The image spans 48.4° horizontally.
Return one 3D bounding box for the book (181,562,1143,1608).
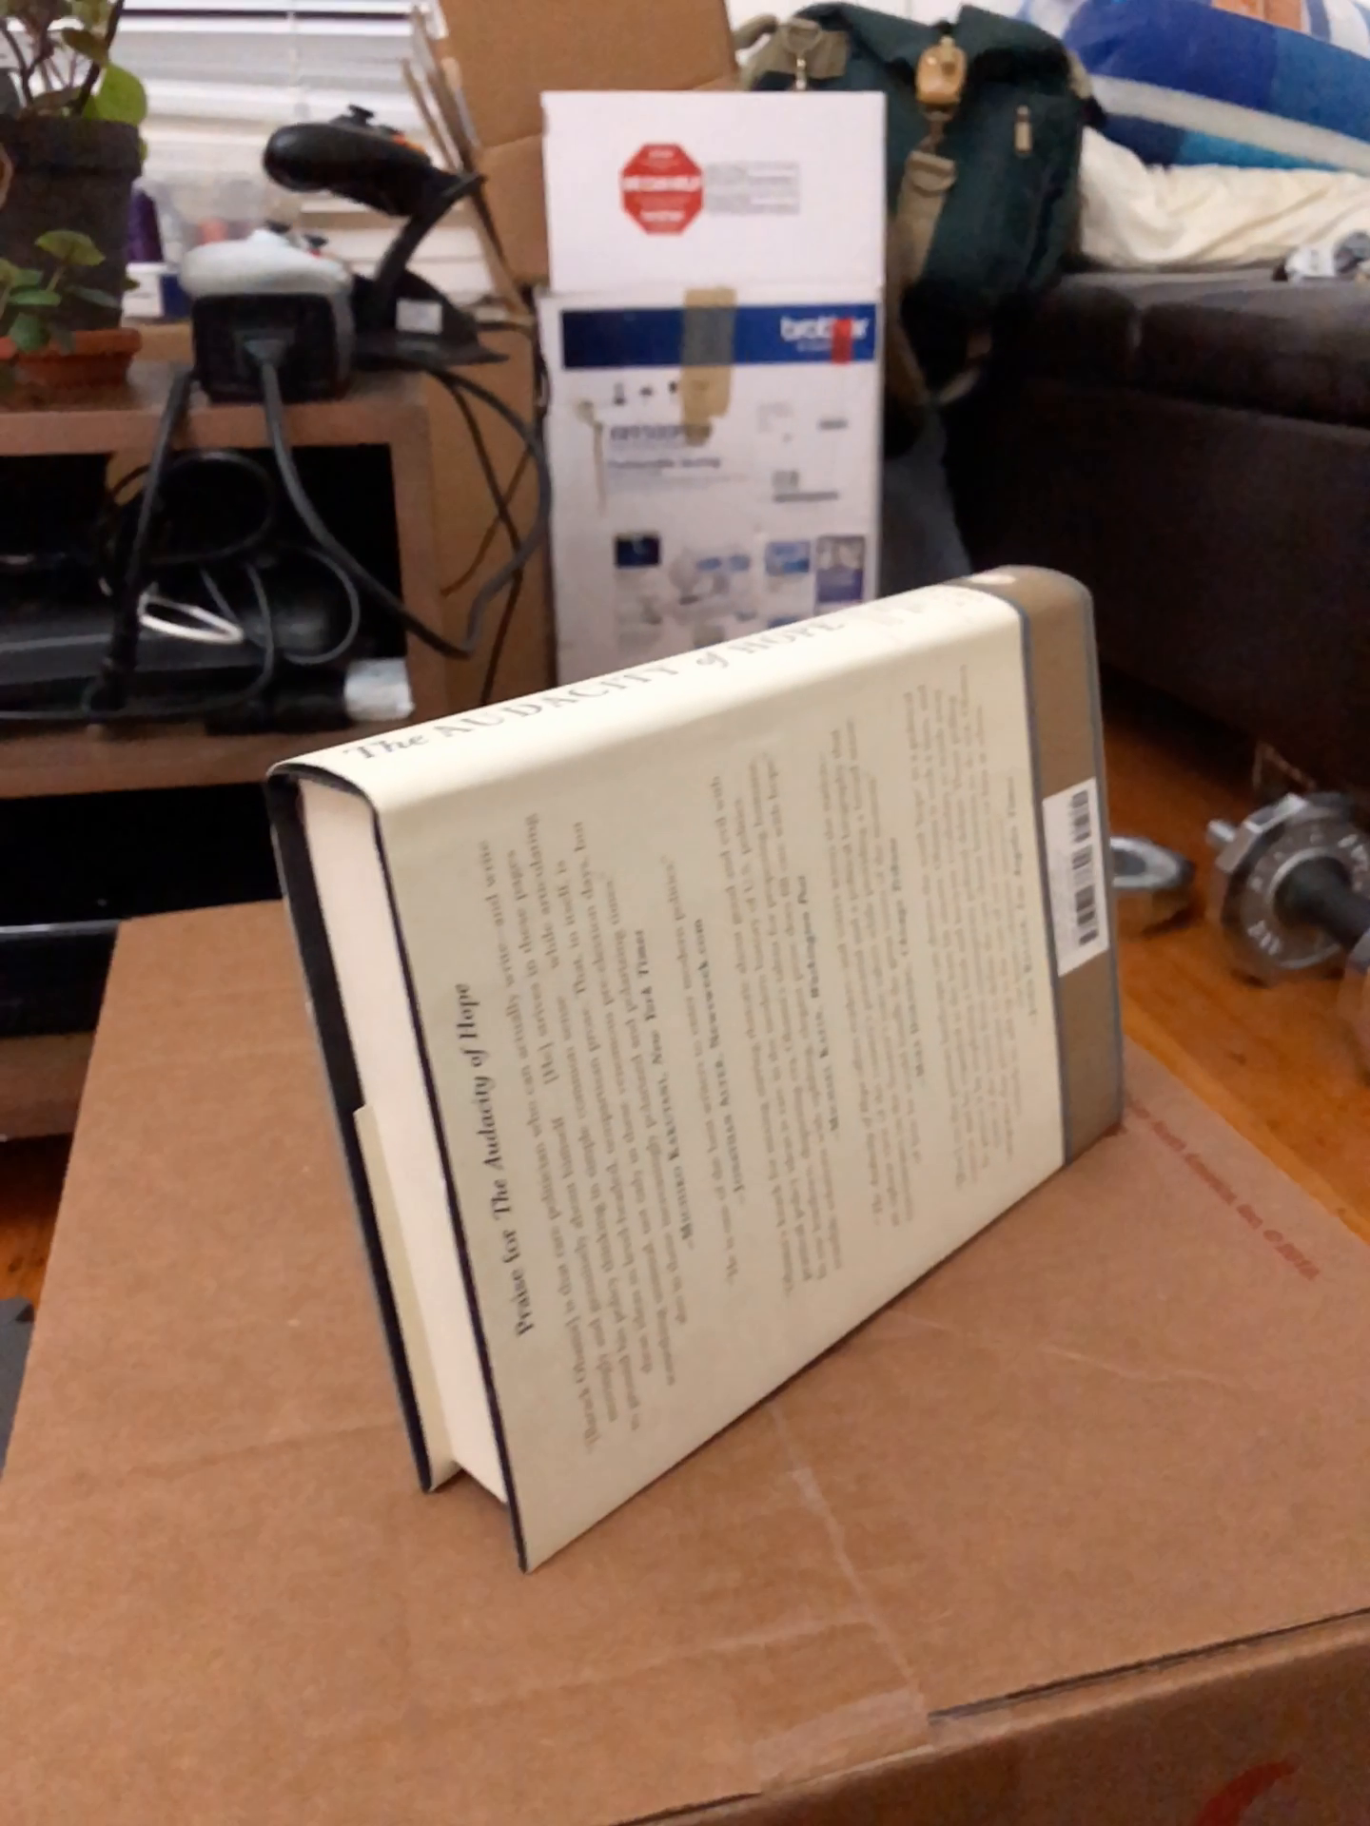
[{"bbox_3d":[0.021,0.016,0.380,0.060,0.169,0.251,6,20,44],"label":"book"}]
